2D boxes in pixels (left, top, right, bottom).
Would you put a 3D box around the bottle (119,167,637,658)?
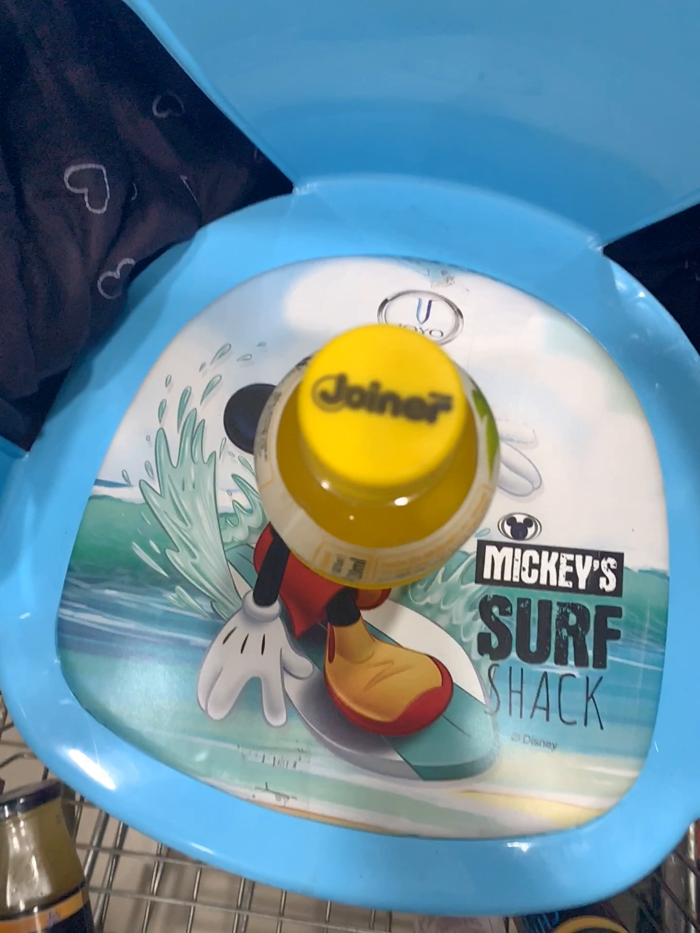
[{"bbox_3d":[0.006,0.005,0.186,0.060,0.140,0.060,0,75,1],"label":"bottle"}]
